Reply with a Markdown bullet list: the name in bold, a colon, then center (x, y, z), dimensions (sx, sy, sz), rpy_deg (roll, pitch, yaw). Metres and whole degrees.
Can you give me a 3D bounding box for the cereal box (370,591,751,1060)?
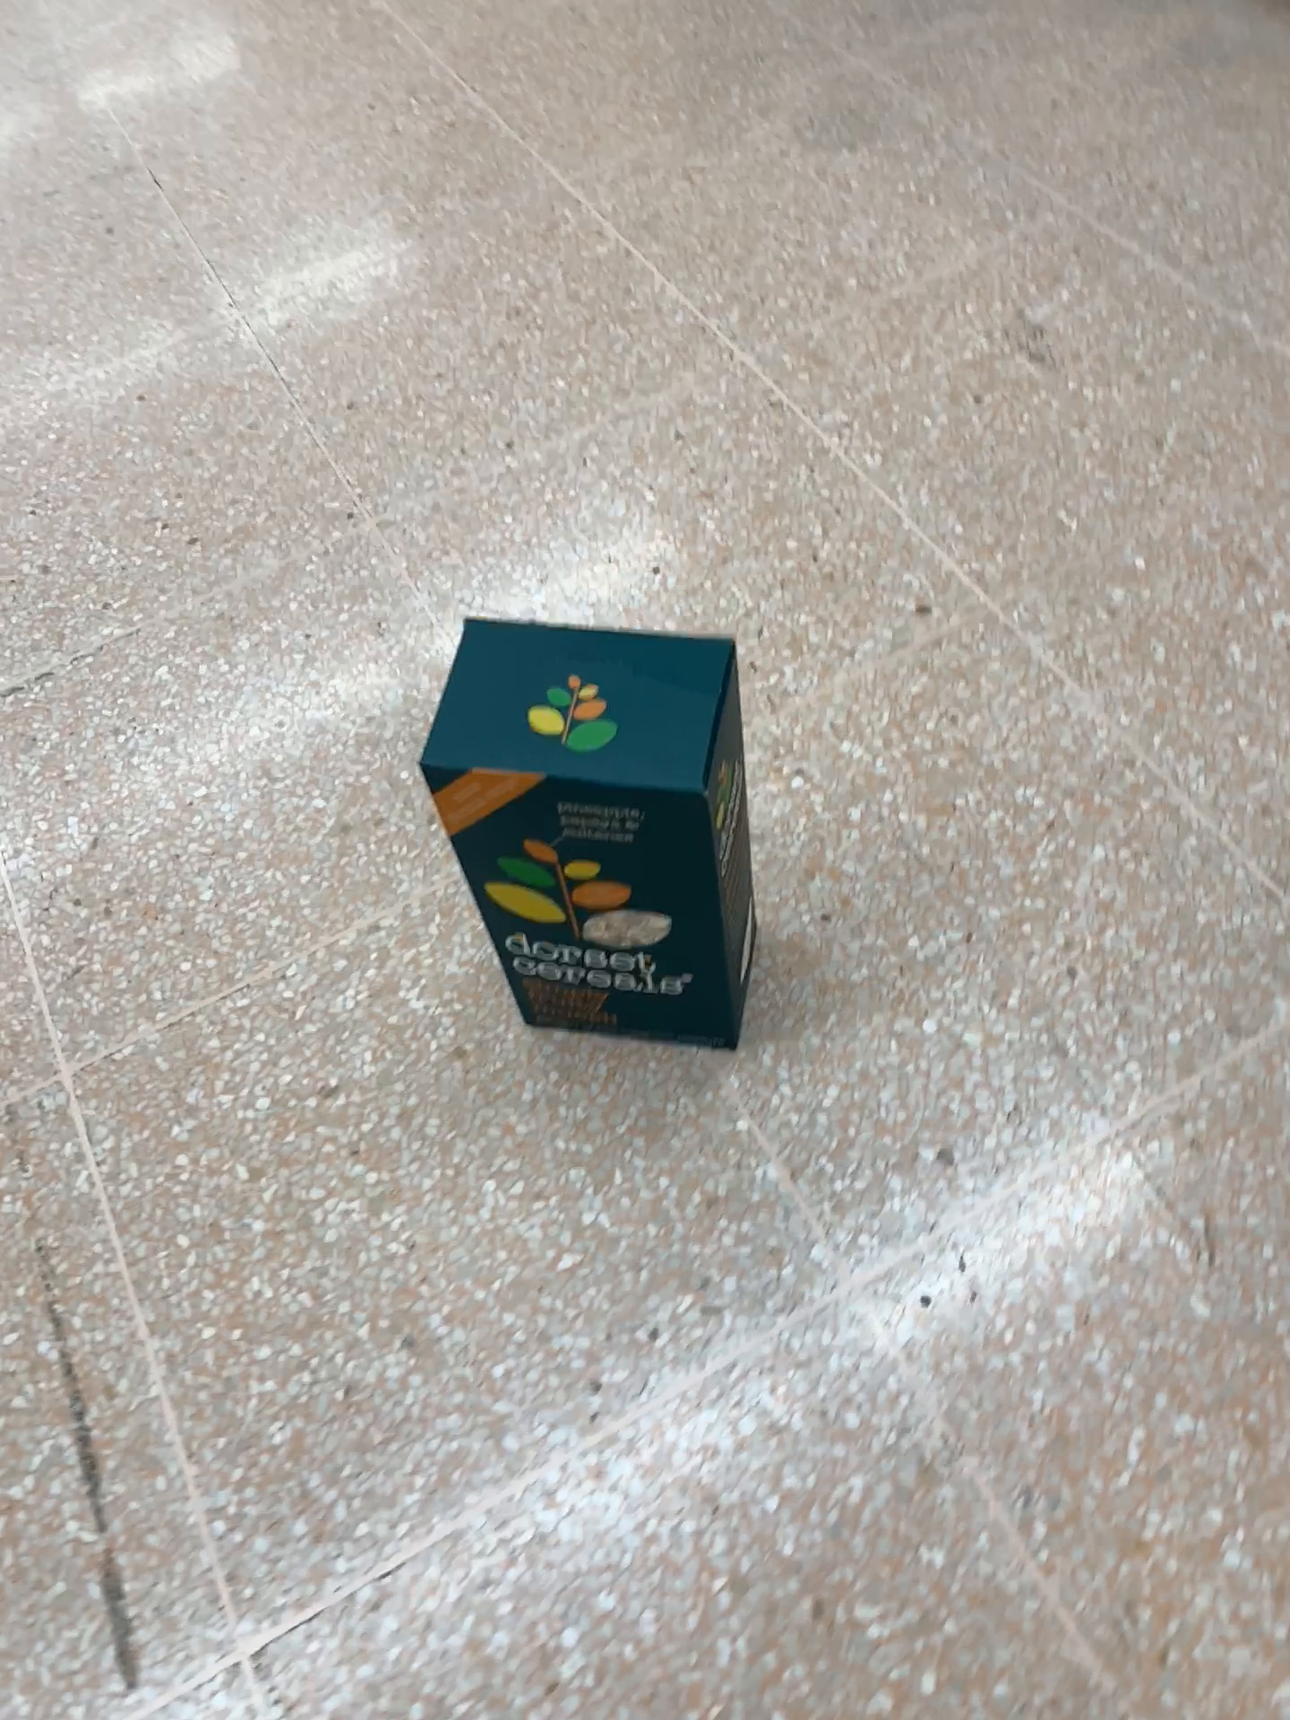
- **cereal box**: center (-0.022, -0.004, 0.594), dimensions (0.120, 0.238, 0.080), rpy_deg (6, 58, 11)
